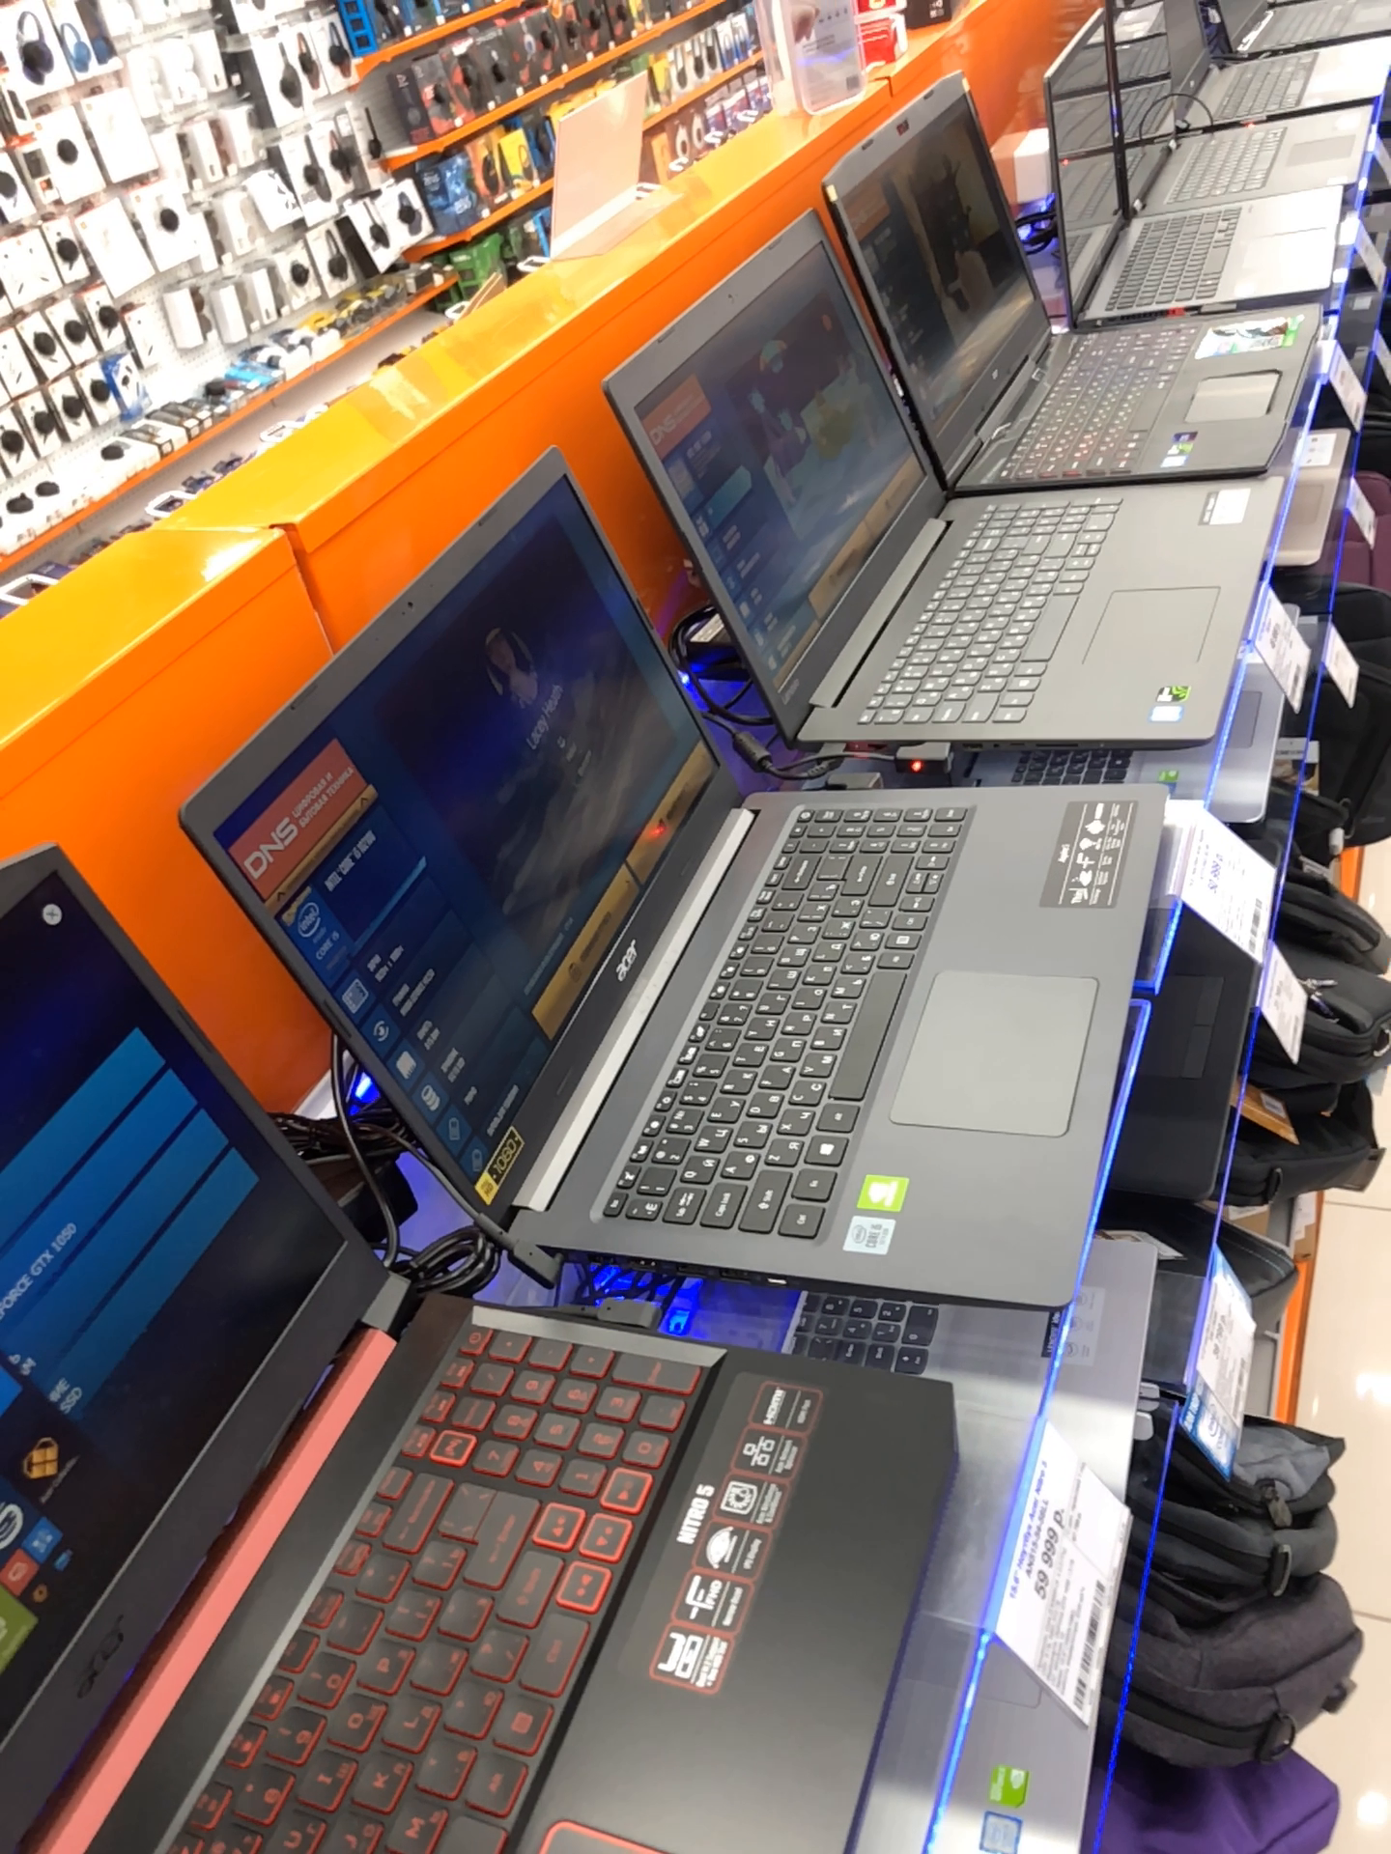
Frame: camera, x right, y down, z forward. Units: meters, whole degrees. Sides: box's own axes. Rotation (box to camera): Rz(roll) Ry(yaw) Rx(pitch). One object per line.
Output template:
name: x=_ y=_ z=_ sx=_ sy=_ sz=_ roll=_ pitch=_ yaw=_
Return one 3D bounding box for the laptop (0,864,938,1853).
laptop: x=-0.128 y=0.162 z=0.424 sx=0.301 sy=0.231 sz=0.310 roll=0 pitch=35 yaw=22

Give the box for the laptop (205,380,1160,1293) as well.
laptop: x=0.035 y=-0.061 z=0.707 sx=0.302 sy=0.224 sz=0.354 roll=1 pitch=37 yaw=23

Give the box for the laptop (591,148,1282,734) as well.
laptop: x=0.186 y=-0.318 z=1.000 sx=0.322 sy=0.230 sz=0.350 roll=3 pitch=38 yaw=24
